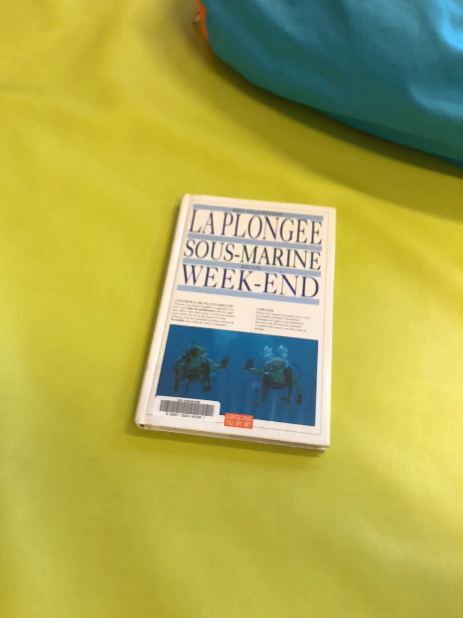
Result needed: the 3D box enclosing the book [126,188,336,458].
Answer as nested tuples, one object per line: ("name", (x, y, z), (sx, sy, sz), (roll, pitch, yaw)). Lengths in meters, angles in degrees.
("book", (0.011, -0.002, 0.441), (0.150, 0.020, 0.235), (6, 61, 3))
